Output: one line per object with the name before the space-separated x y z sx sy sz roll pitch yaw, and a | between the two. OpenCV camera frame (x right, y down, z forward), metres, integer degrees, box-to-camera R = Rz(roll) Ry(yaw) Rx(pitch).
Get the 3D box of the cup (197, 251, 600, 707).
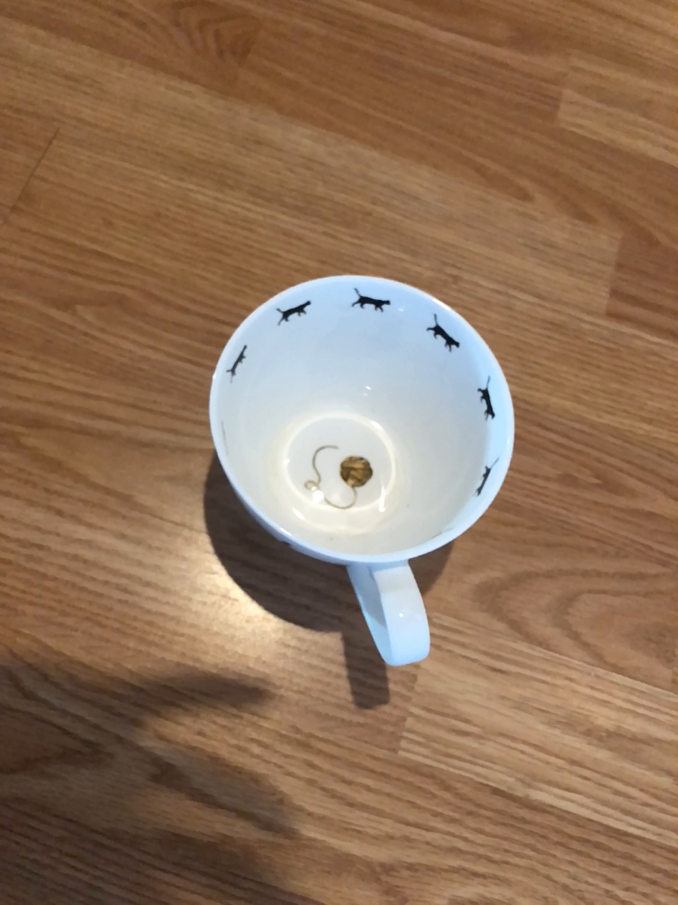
cup | 0.014 0.012 0.323 0.120 0.080 0.160 -9 73 -11
